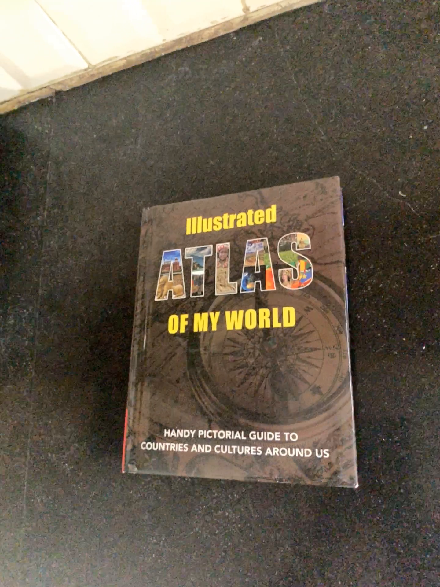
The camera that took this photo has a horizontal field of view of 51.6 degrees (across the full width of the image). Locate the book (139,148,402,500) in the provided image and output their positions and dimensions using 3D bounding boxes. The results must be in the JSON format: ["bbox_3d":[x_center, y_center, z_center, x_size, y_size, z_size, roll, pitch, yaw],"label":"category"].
[{"bbox_3d":[0.037,0.022,0.395,0.200,0.040,0.271,-6,72,21],"label":"book"}]
